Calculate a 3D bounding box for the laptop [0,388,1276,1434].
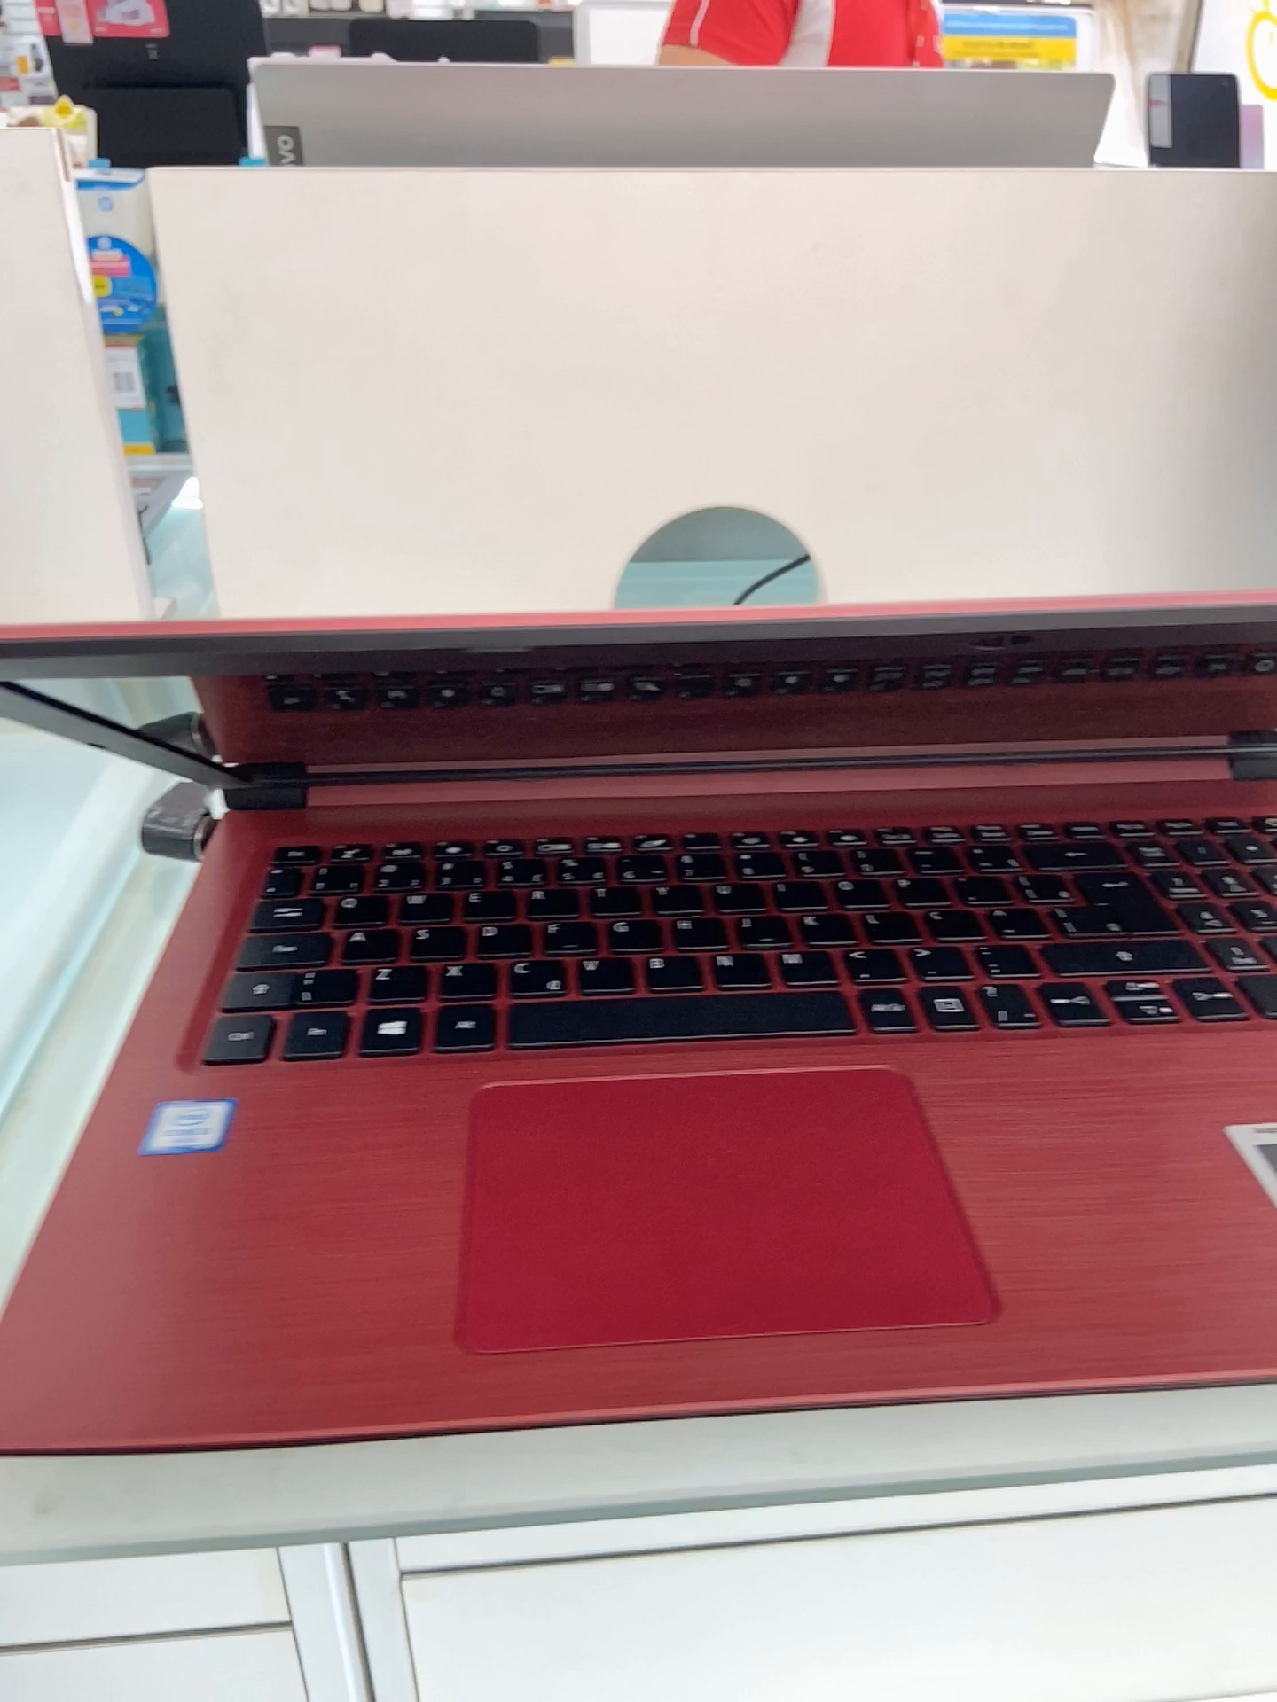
[{"bbox_3d":[0.057,-0.020,0.321,0.379,0.132,0.237,-2,29,-4],"label":"laptop"}]
